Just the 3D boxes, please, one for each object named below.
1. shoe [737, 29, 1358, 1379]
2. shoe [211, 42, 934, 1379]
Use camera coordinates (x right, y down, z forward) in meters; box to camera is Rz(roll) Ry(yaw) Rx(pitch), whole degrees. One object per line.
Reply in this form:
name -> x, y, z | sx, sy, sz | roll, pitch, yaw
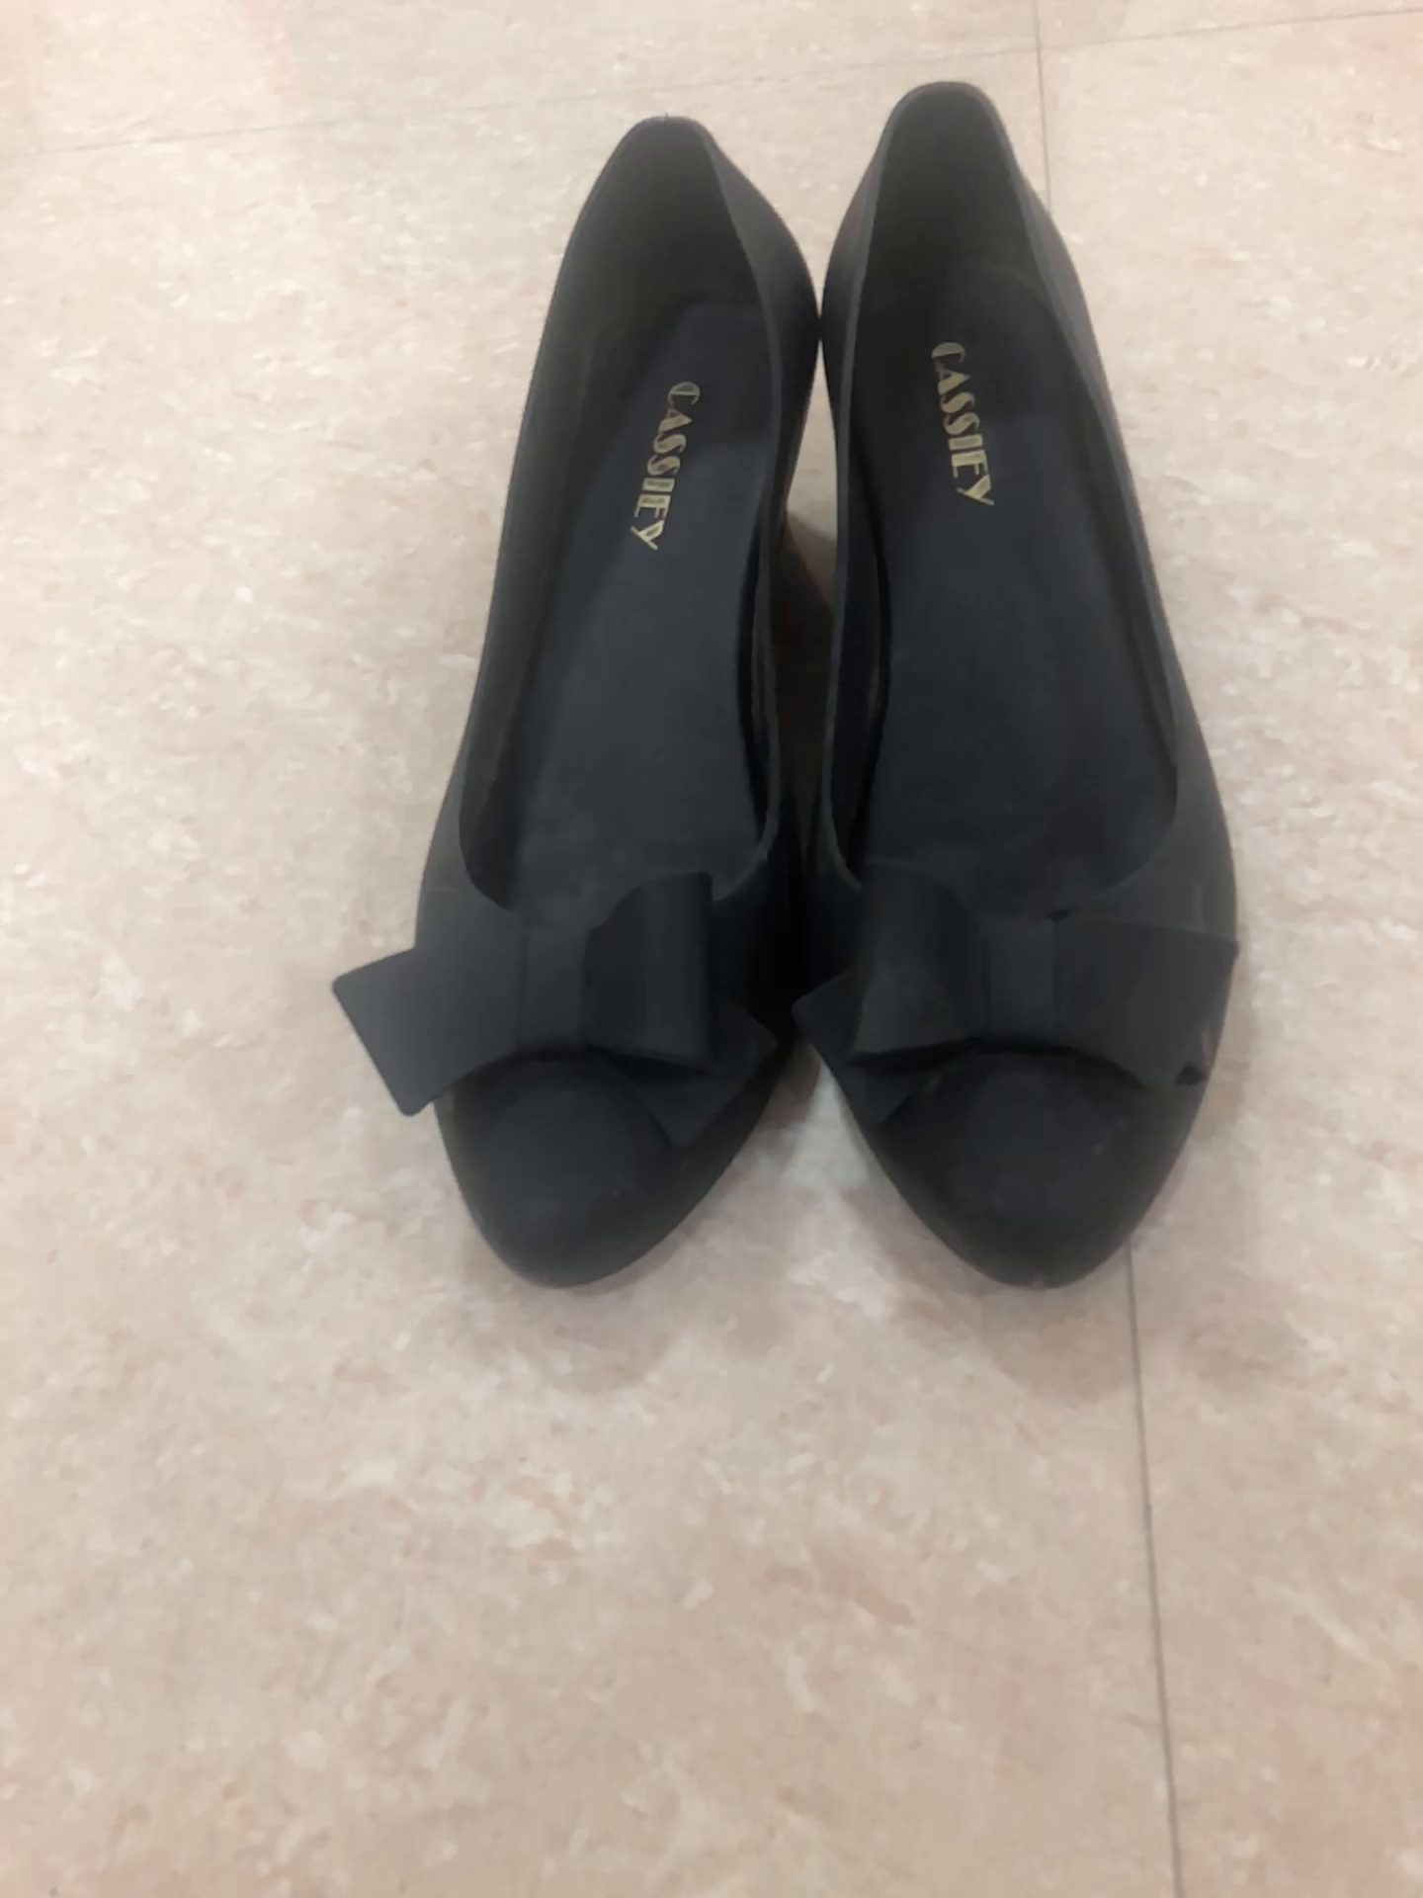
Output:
shoe -> 0.064, -0.072, 0.353 | 0.090, 0.090, 0.311 | -2, 57, 9
shoe -> -0.007, -0.073, 0.360 | 0.090, 0.090, 0.311 | 2, 58, 12
